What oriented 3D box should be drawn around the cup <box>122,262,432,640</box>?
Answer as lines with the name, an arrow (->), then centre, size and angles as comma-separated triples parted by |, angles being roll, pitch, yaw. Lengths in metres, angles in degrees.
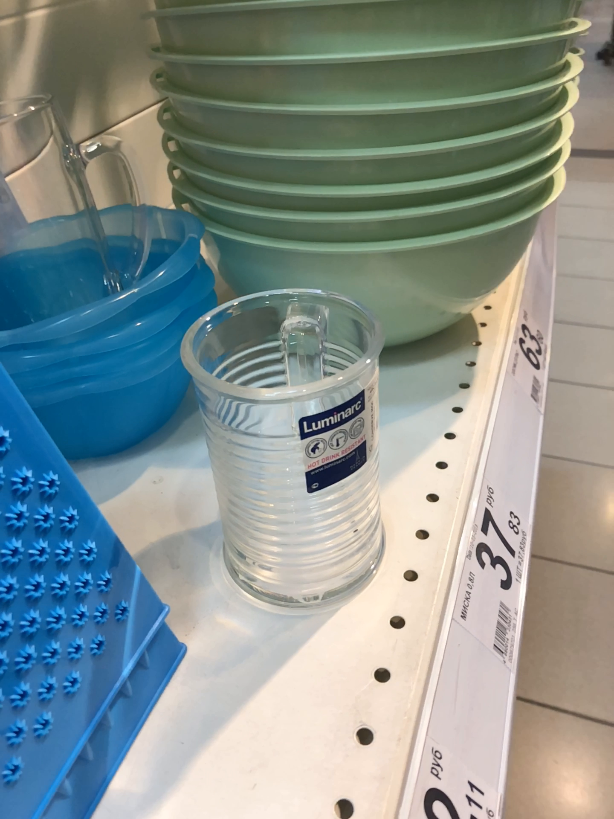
cup -> -0.002, 0.012, 0.282 | 0.087, 0.104, 0.102 | 8, 39, 15
